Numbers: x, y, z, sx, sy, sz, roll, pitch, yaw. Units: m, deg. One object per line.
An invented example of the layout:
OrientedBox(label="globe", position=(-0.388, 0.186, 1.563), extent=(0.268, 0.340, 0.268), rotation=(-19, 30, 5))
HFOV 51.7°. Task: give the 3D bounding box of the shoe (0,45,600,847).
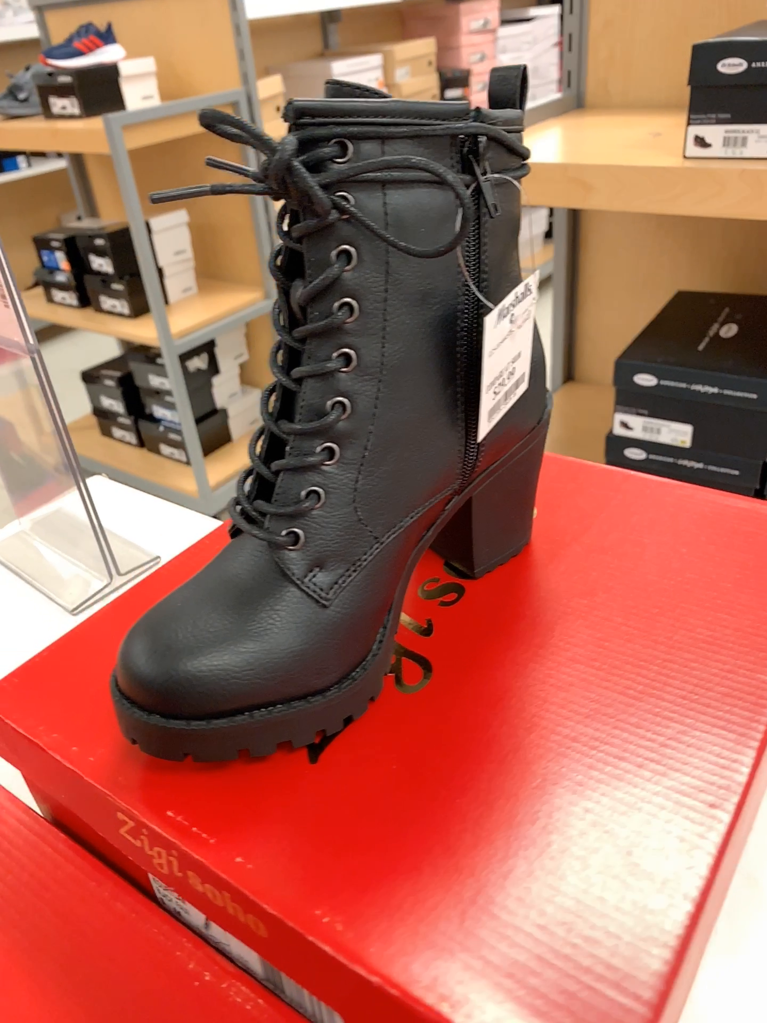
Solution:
OrientedBox(label="shoe", position=(-0.026, -0.037, 0.283), extent=(0.201, 0.203, 0.093), rotation=(-30, 40, -33))
